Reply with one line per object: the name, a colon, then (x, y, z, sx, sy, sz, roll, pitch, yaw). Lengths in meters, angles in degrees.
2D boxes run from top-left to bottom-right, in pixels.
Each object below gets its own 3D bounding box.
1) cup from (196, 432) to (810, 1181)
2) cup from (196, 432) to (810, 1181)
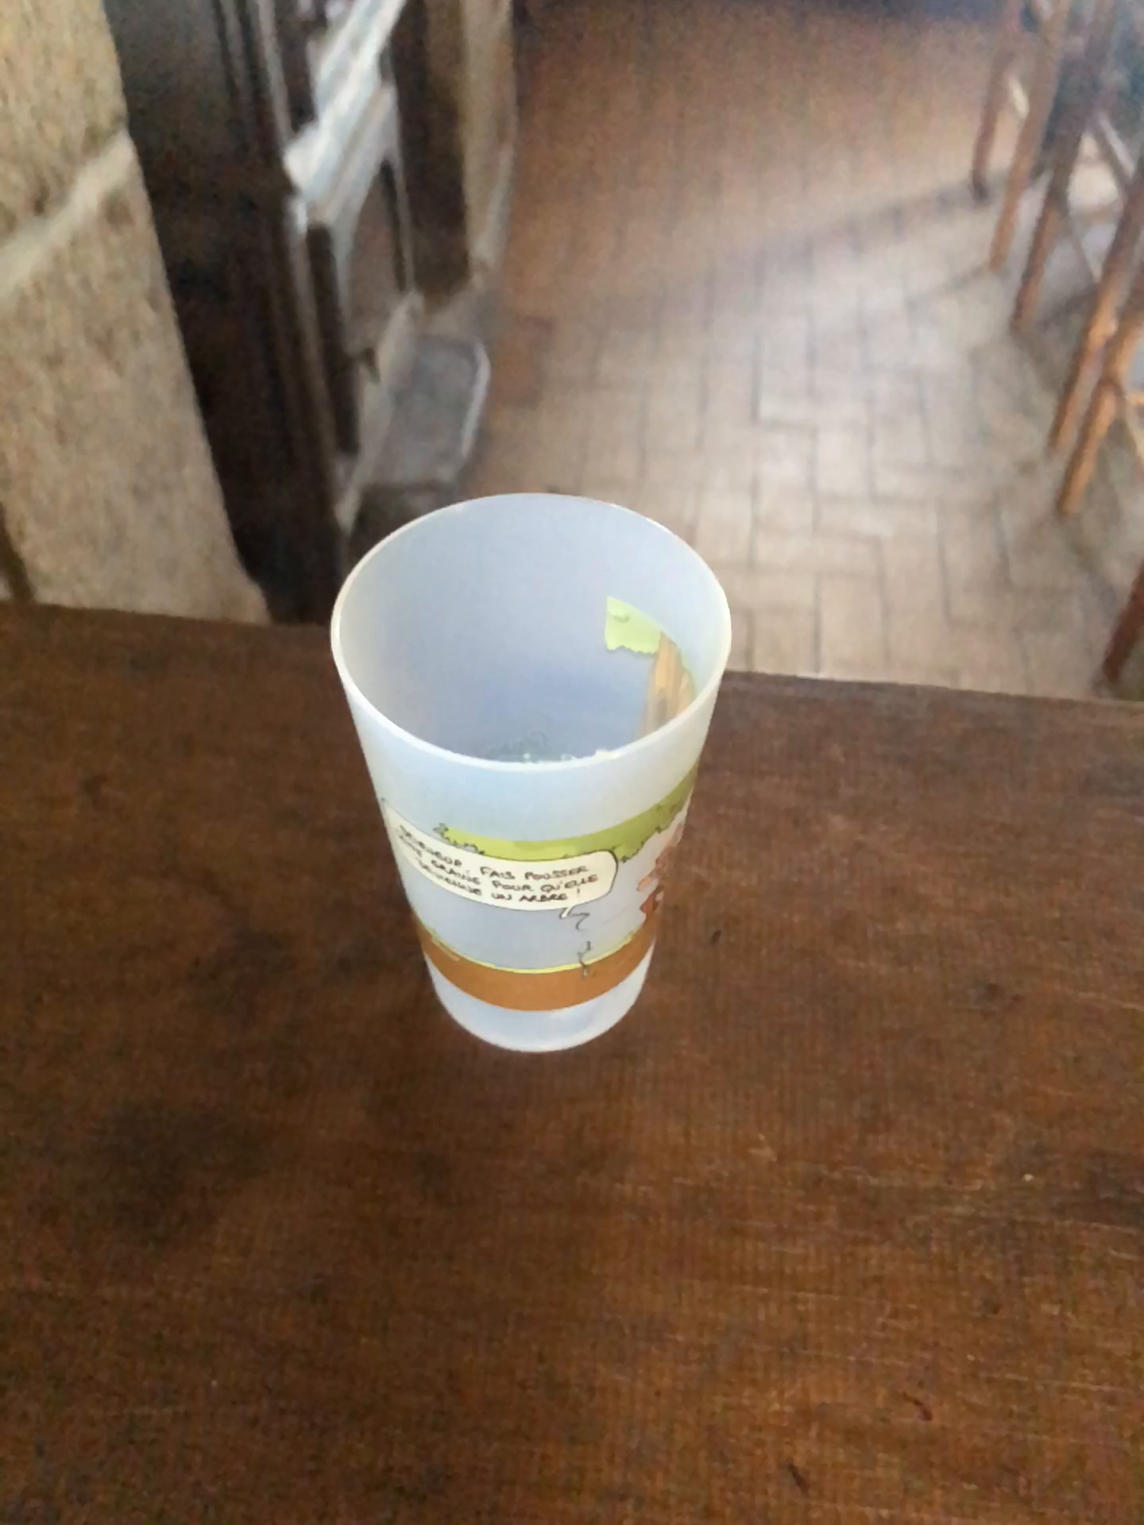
cup: (-0.014, 0.012, 0.278, 0.080, 0.119, 0.080, 0, 49, 0)
cup: (-0.014, 0.012, 0.278, 0.080, 0.119, 0.080, 0, 49, 0)
